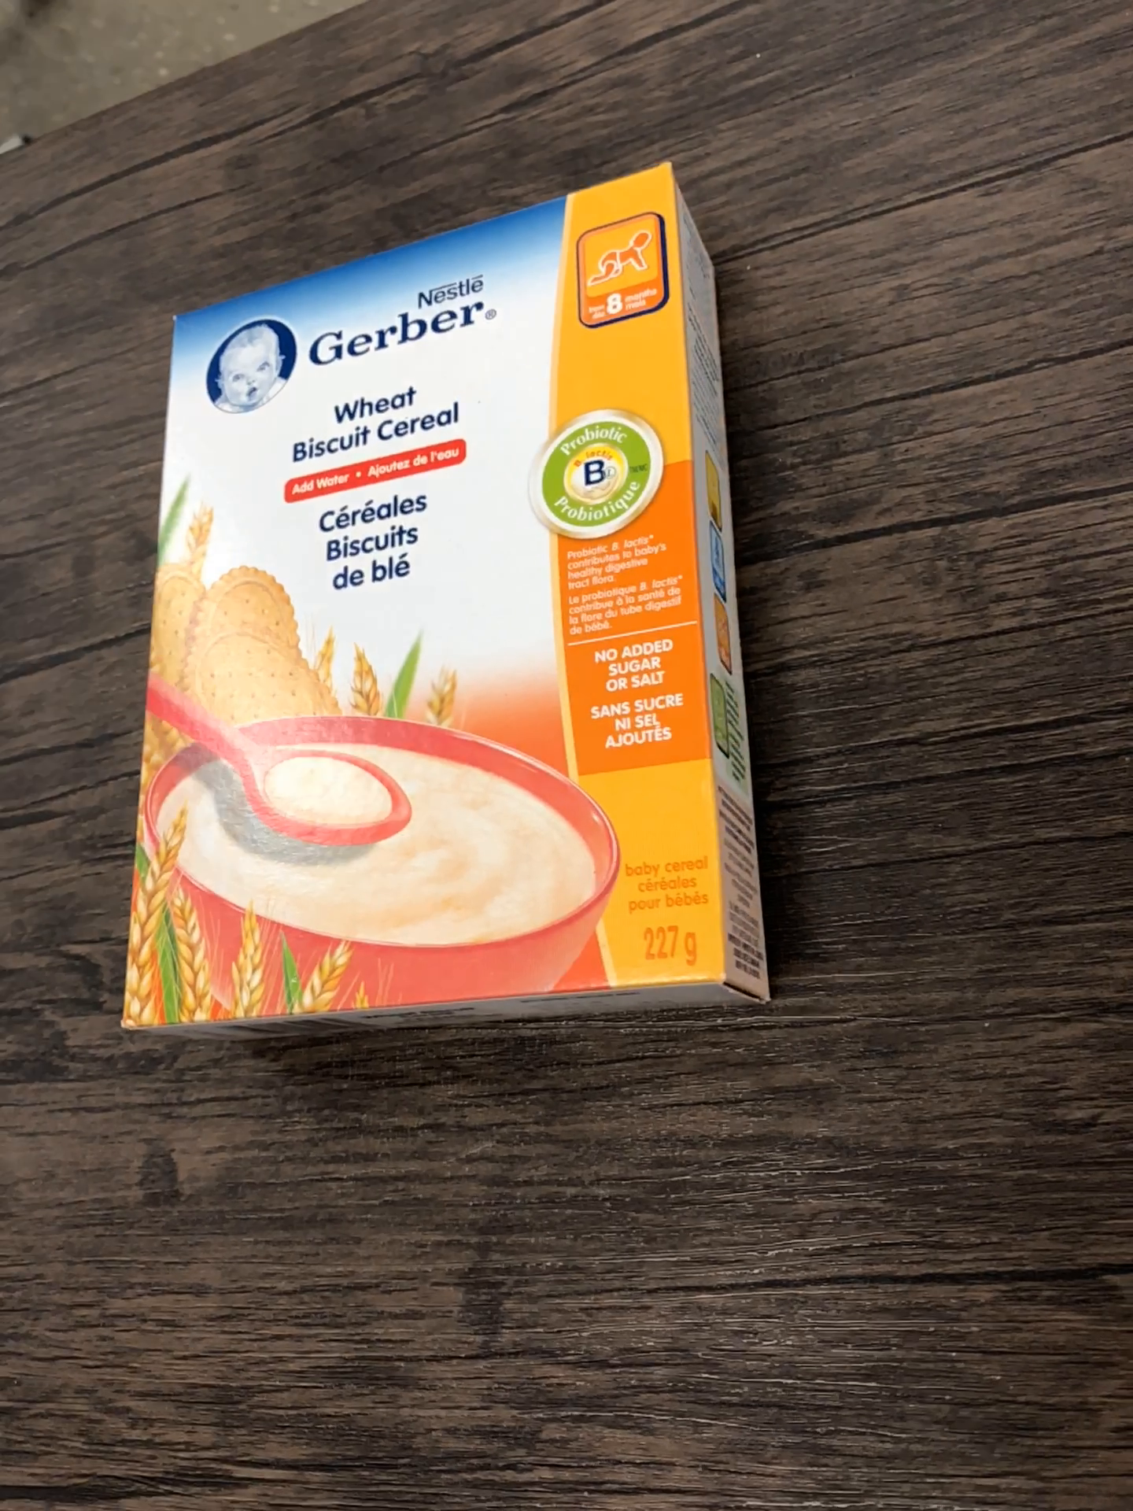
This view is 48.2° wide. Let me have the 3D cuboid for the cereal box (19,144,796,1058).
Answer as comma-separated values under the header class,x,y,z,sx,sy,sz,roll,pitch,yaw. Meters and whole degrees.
class,x,y,z,sx,sy,sz,roll,pitch,yaw
cereal box,-0.038,-0.028,0.289,0.160,0.040,0.180,-8,72,20
